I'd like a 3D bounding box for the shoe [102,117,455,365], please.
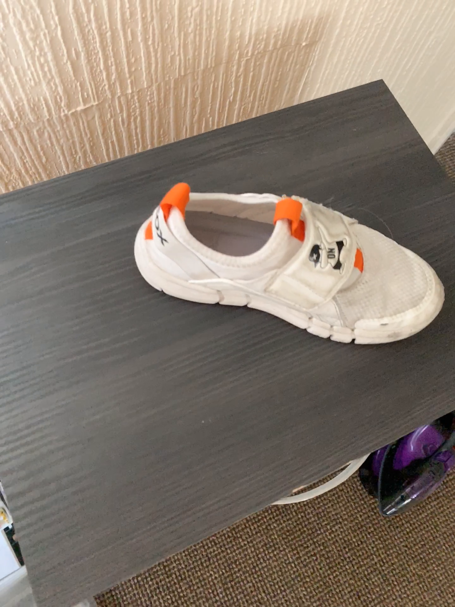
[{"bbox_3d":[0.041,-0.040,0.329,0.222,0.070,0.100,15,69,0],"label":"shoe"}]
